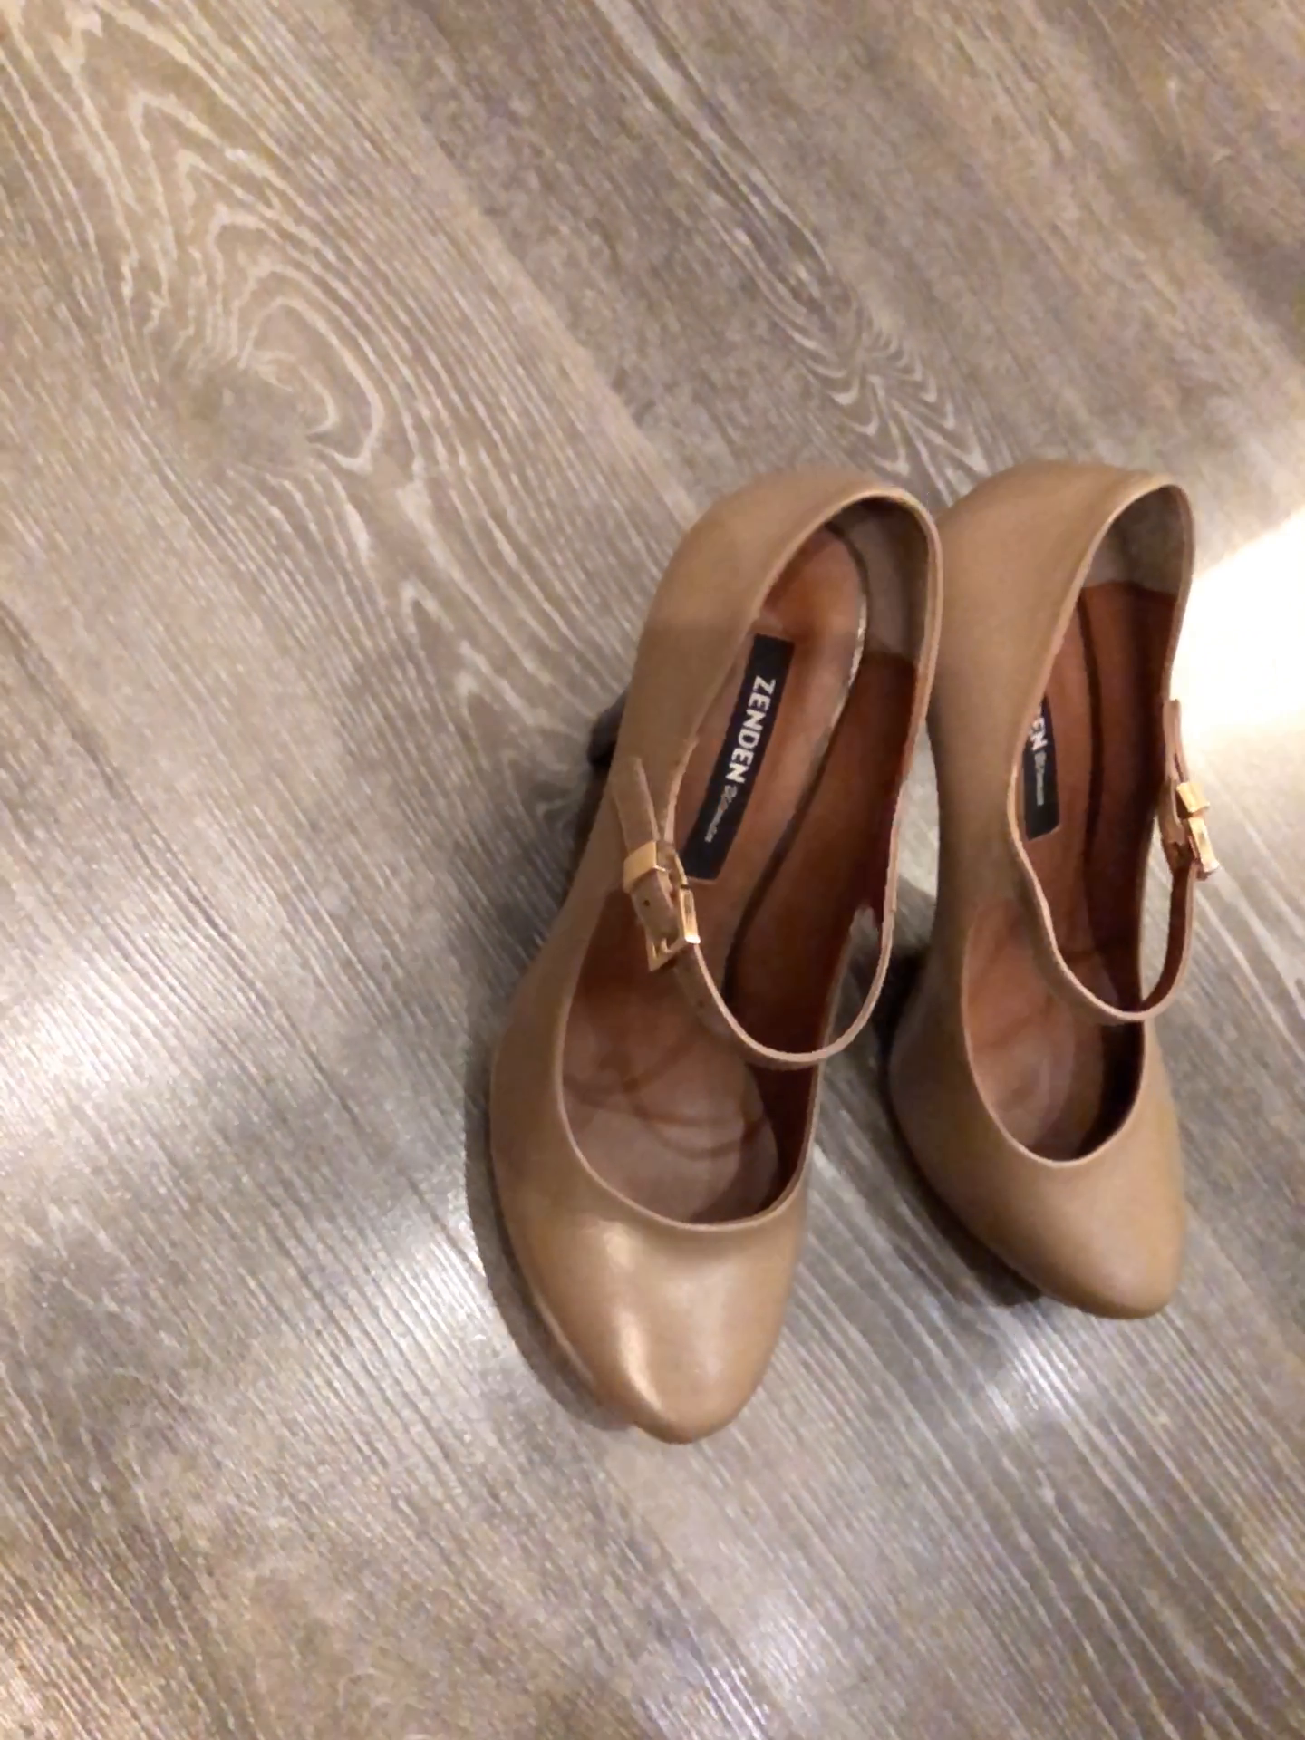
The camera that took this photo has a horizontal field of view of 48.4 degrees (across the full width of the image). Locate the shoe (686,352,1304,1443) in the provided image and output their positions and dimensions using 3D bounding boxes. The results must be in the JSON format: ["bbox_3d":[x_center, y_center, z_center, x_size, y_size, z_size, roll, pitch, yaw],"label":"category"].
[{"bbox_3d":[0.113,0.014,0.368,0.090,0.160,0.210,-19,82,-22],"label":"shoe"}]

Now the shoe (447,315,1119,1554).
[{"bbox_3d":[0.014,0.021,0.334,0.090,0.150,0.220,4,74,-17],"label":"shoe"}]
